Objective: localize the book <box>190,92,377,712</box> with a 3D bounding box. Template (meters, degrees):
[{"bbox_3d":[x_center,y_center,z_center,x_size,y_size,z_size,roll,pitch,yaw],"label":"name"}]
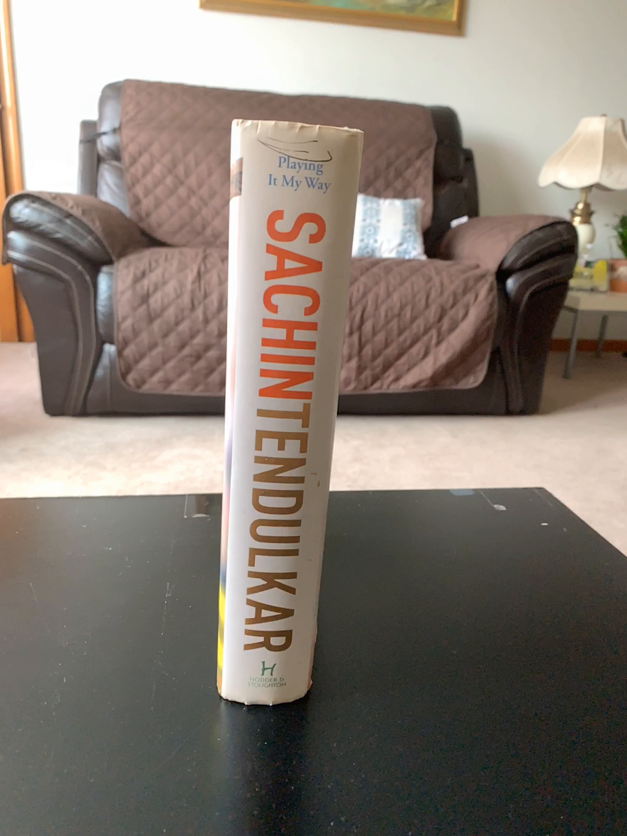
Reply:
[{"bbox_3d":[-0.016,-0.016,0.325,0.060,0.239,0.171,3,18,-1],"label":"book"}]
